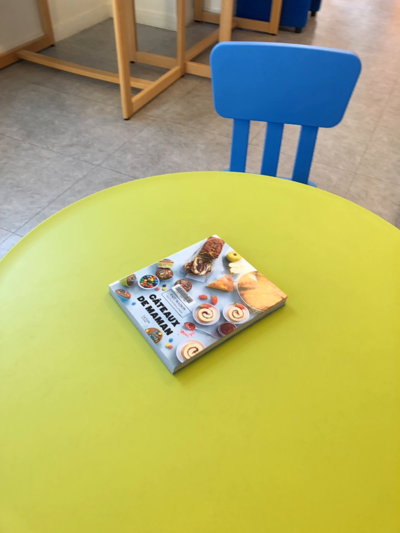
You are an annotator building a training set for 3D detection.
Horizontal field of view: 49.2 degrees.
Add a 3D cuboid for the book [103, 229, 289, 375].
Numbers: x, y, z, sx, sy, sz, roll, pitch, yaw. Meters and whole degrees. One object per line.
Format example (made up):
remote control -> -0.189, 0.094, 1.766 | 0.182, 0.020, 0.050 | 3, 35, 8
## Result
book -> -0.008, 0.042, 0.716 | 0.229, 0.021, 0.200 | -27, 52, -27
